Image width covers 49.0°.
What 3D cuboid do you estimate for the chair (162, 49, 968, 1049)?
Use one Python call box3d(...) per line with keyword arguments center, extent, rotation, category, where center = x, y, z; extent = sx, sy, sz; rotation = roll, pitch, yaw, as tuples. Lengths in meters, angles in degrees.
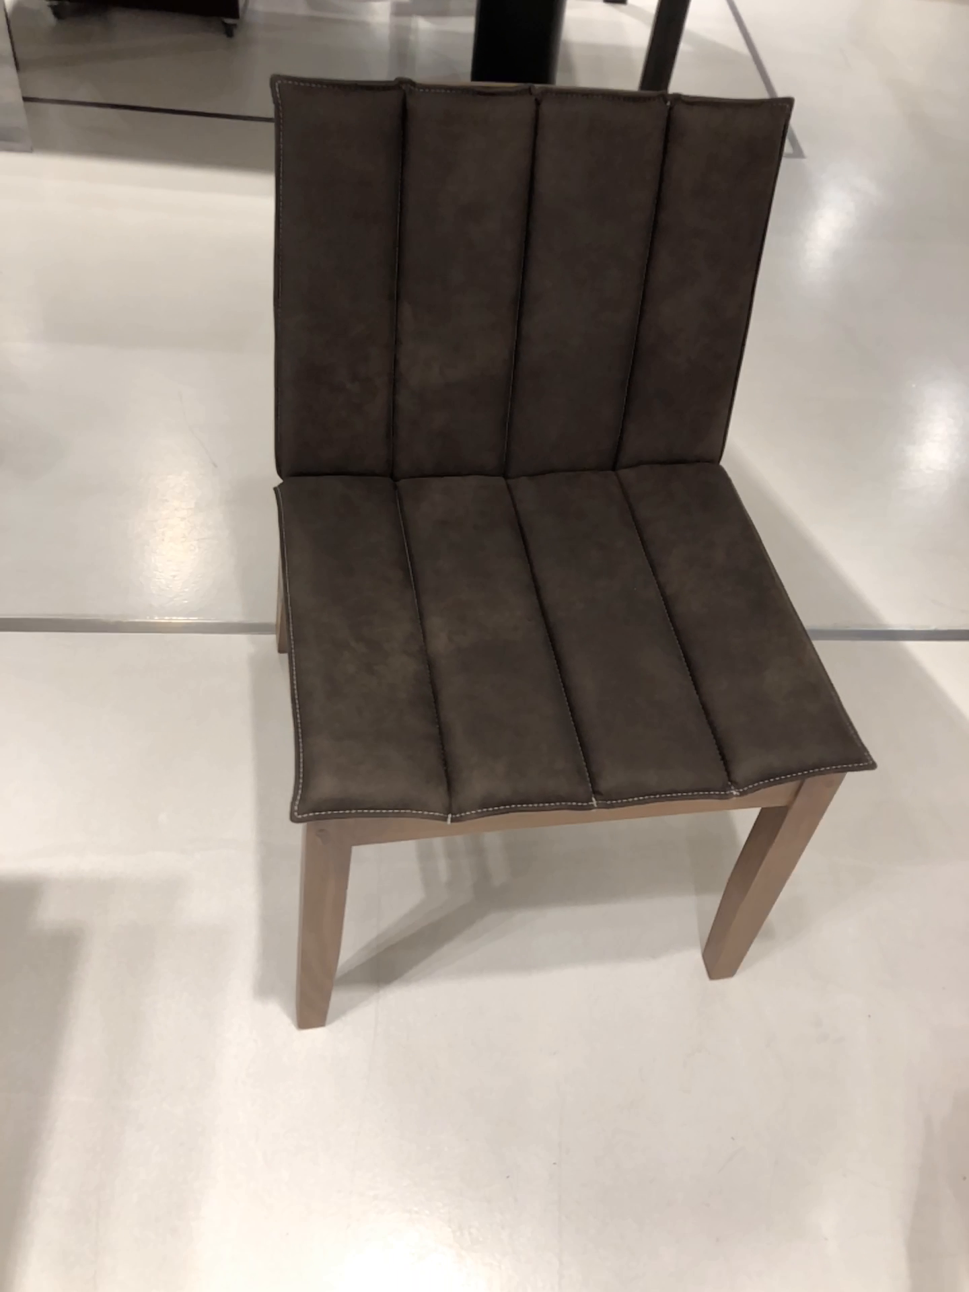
box3d(center=(0.026, -0.044, 1.053), extent=(0.540, 0.775, 0.573), rotation=(-3, 53, -9), category="chair")
